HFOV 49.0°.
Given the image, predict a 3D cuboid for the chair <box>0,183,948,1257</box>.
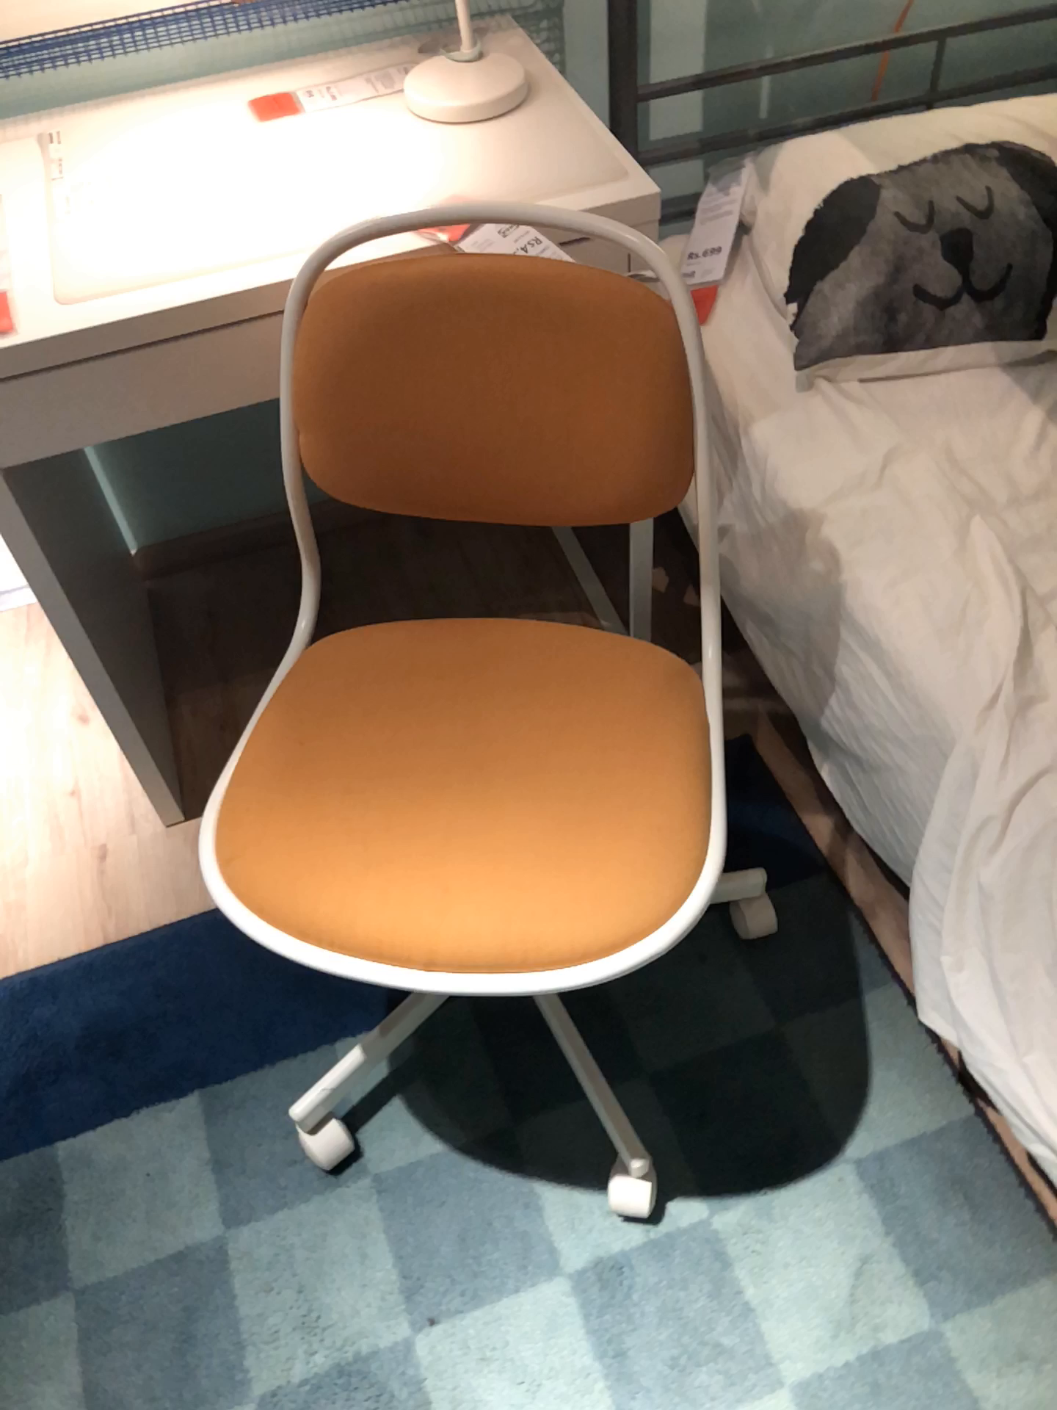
[{"bbox_3d":[-0.042,0.054,1.055,0.610,0.795,0.563,4,51,8],"label":"chair"}]
